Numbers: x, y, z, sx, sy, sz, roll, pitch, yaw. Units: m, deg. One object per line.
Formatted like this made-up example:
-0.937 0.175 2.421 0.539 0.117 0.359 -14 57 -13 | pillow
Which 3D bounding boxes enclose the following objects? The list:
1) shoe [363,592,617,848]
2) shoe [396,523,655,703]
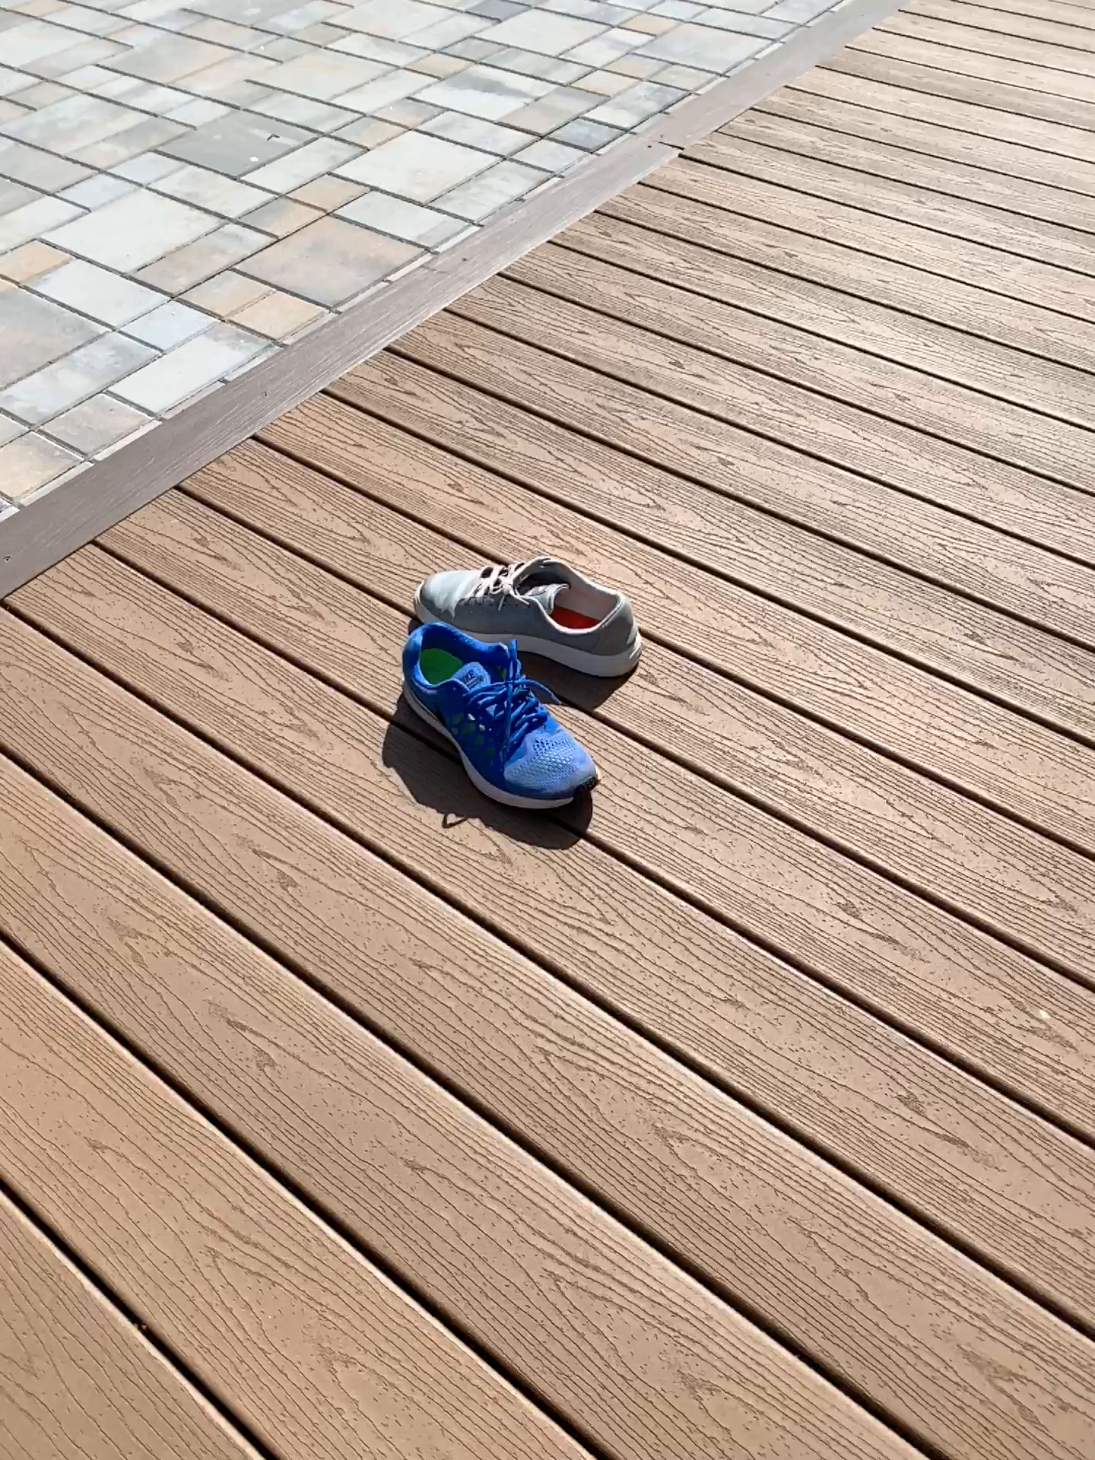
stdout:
-0.064 -0.018 1.184 0.110 0.090 0.281 -34 56 -25 | shoe
-0.024 -0.142 1.336 0.280 0.110 0.110 15 51 14 | shoe
